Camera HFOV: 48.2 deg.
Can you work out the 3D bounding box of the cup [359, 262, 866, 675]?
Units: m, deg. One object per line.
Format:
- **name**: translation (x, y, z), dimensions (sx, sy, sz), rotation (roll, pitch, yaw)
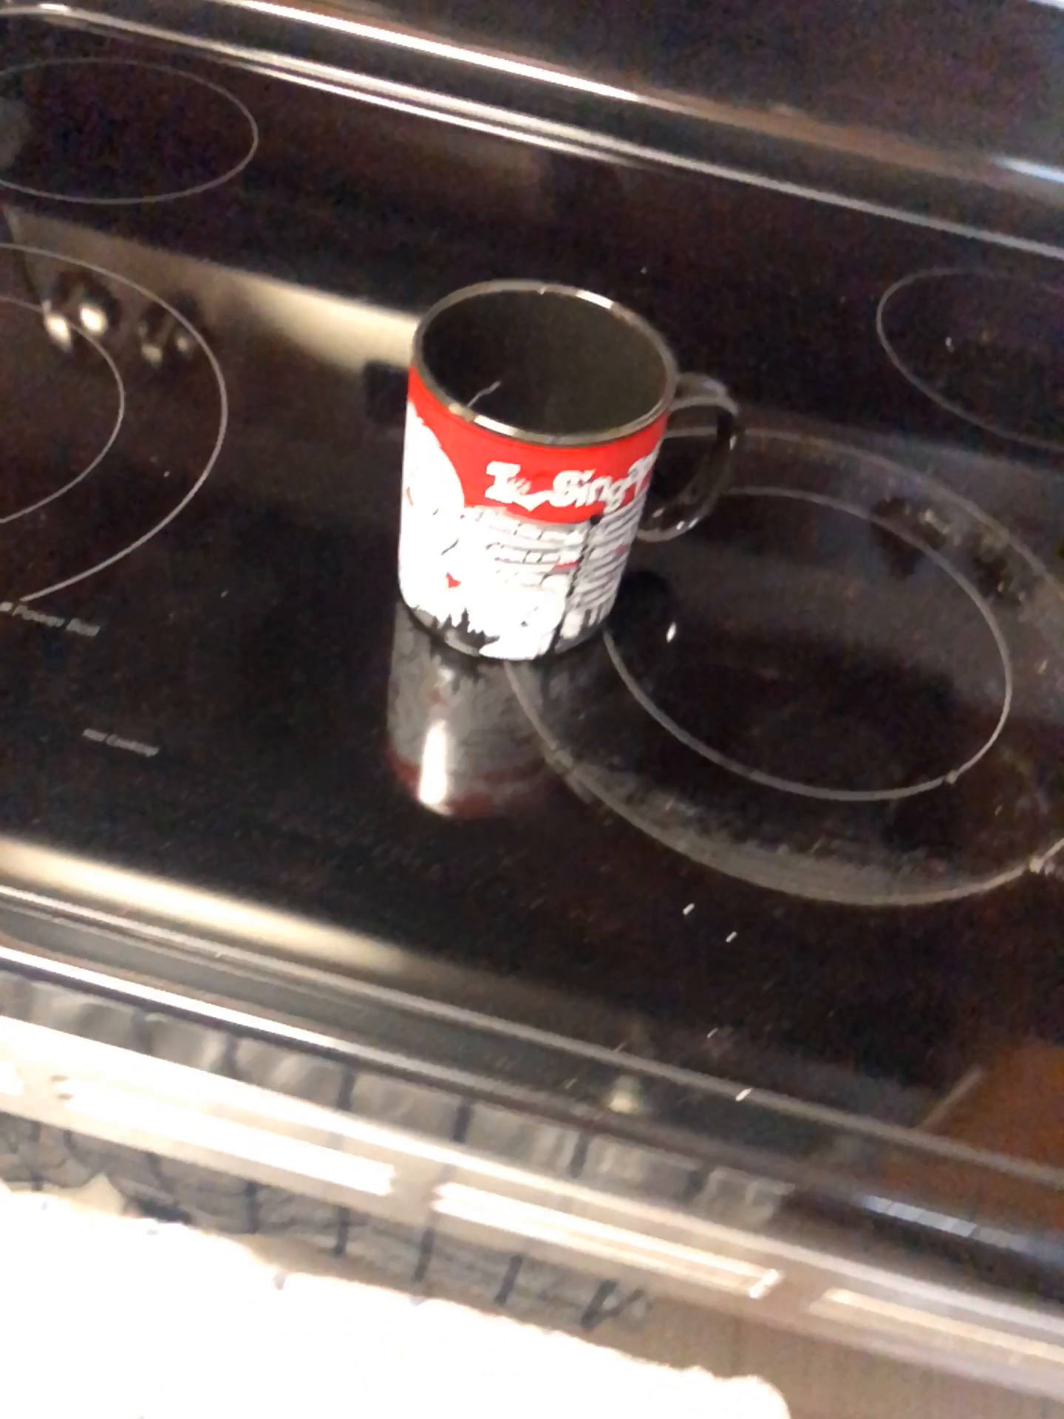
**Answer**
- **cup**: translation (0.017, -0.080, 0.389), dimensions (0.130, 0.090, 0.090), rotation (-5, 52, -15)
